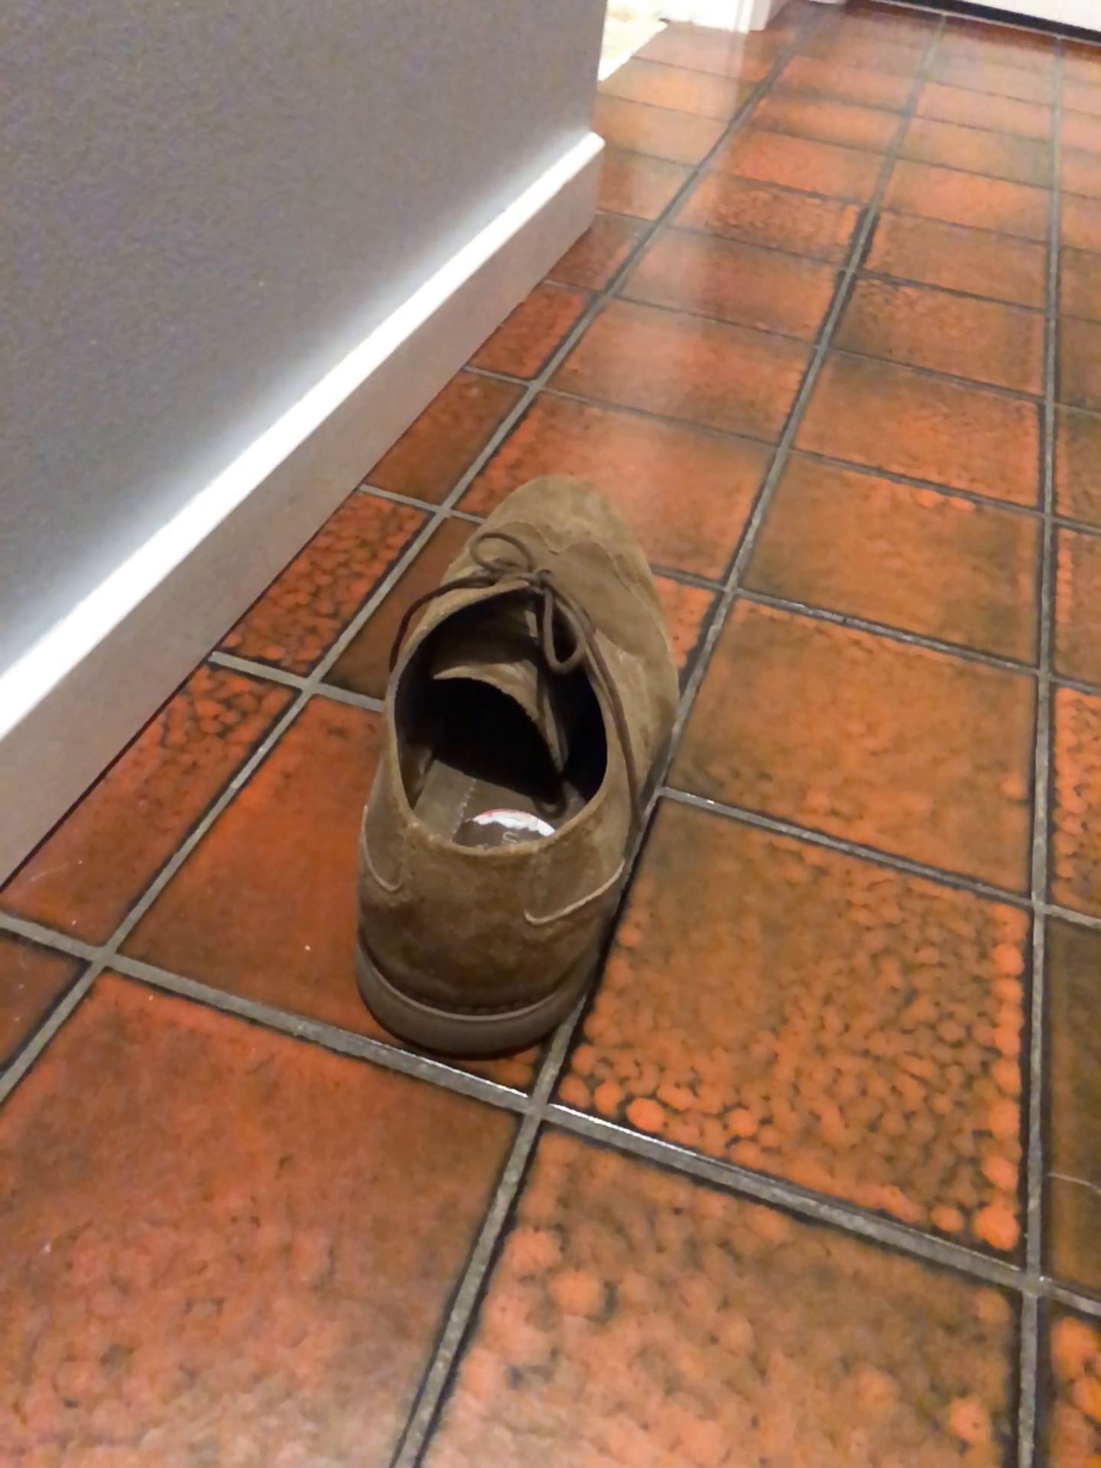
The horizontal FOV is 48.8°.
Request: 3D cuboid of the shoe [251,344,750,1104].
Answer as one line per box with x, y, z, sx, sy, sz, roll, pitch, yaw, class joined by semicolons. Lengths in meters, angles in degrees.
-0.002;-0.029;0.466;0.120;0.100;0.301;12;42;3;shoe
